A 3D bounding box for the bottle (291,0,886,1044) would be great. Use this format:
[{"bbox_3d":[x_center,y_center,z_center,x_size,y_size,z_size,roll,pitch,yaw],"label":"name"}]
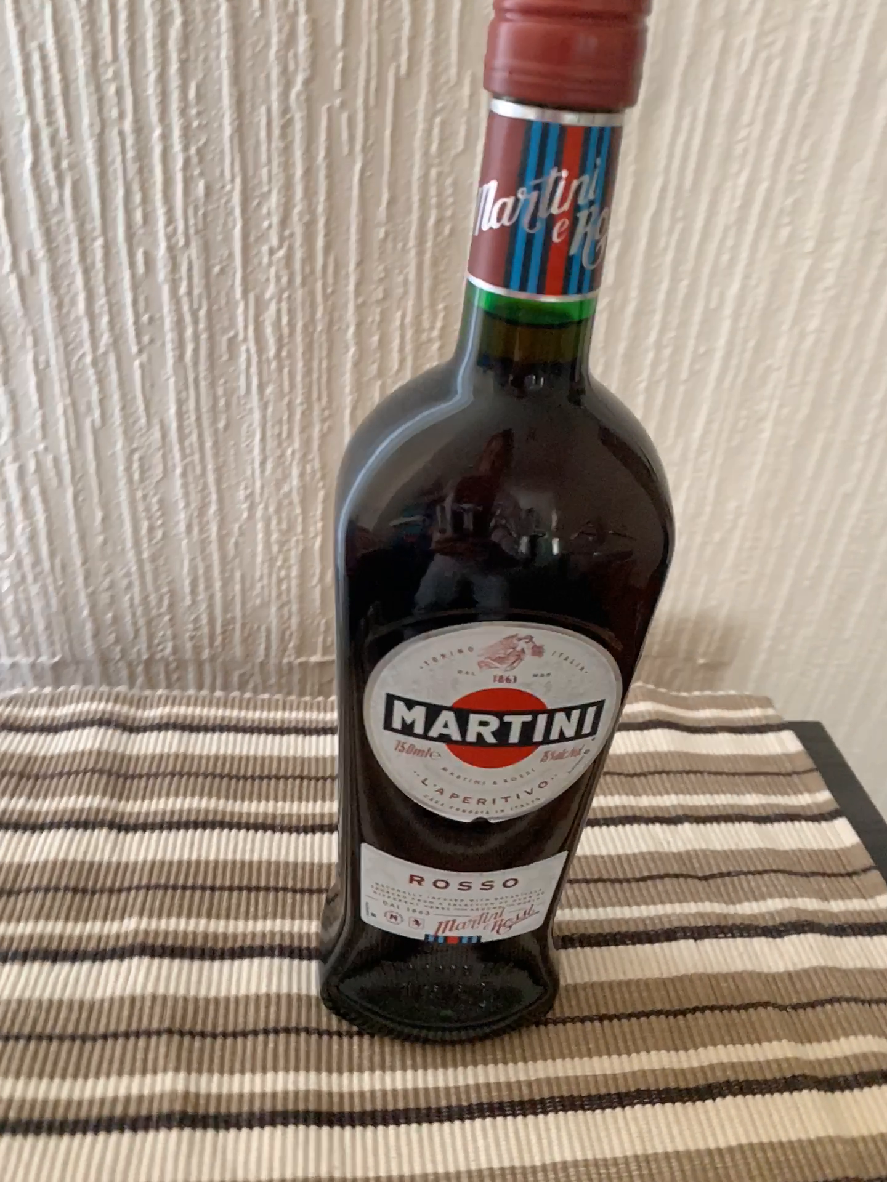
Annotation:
[{"bbox_3d":[0.008,0.007,0.243,0.090,0.297,0.061,3,33,-6],"label":"bottle"}]
